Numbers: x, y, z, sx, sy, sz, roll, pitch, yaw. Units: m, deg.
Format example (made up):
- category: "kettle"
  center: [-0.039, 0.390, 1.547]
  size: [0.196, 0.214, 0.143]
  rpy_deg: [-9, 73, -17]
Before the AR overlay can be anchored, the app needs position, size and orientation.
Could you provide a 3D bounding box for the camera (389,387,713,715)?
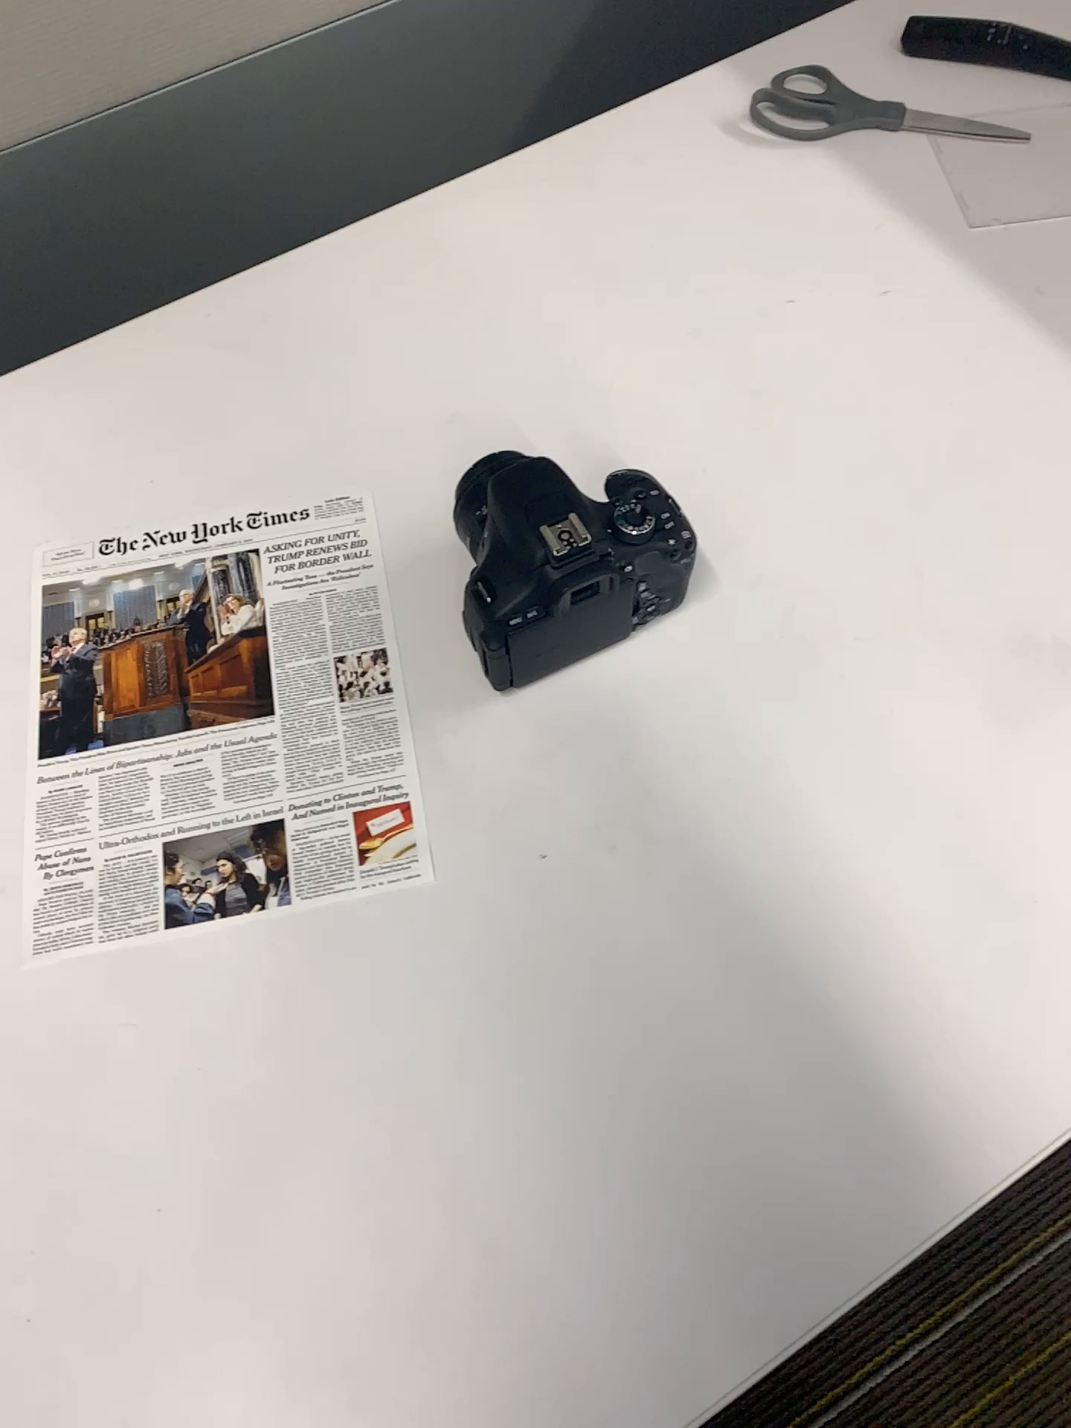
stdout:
- category: "camera"
  center: [0.008, -0.092, 0.619]
  size: [0.137, 0.090, 0.110]
  rpy_deg: [-25, 62, -11]
